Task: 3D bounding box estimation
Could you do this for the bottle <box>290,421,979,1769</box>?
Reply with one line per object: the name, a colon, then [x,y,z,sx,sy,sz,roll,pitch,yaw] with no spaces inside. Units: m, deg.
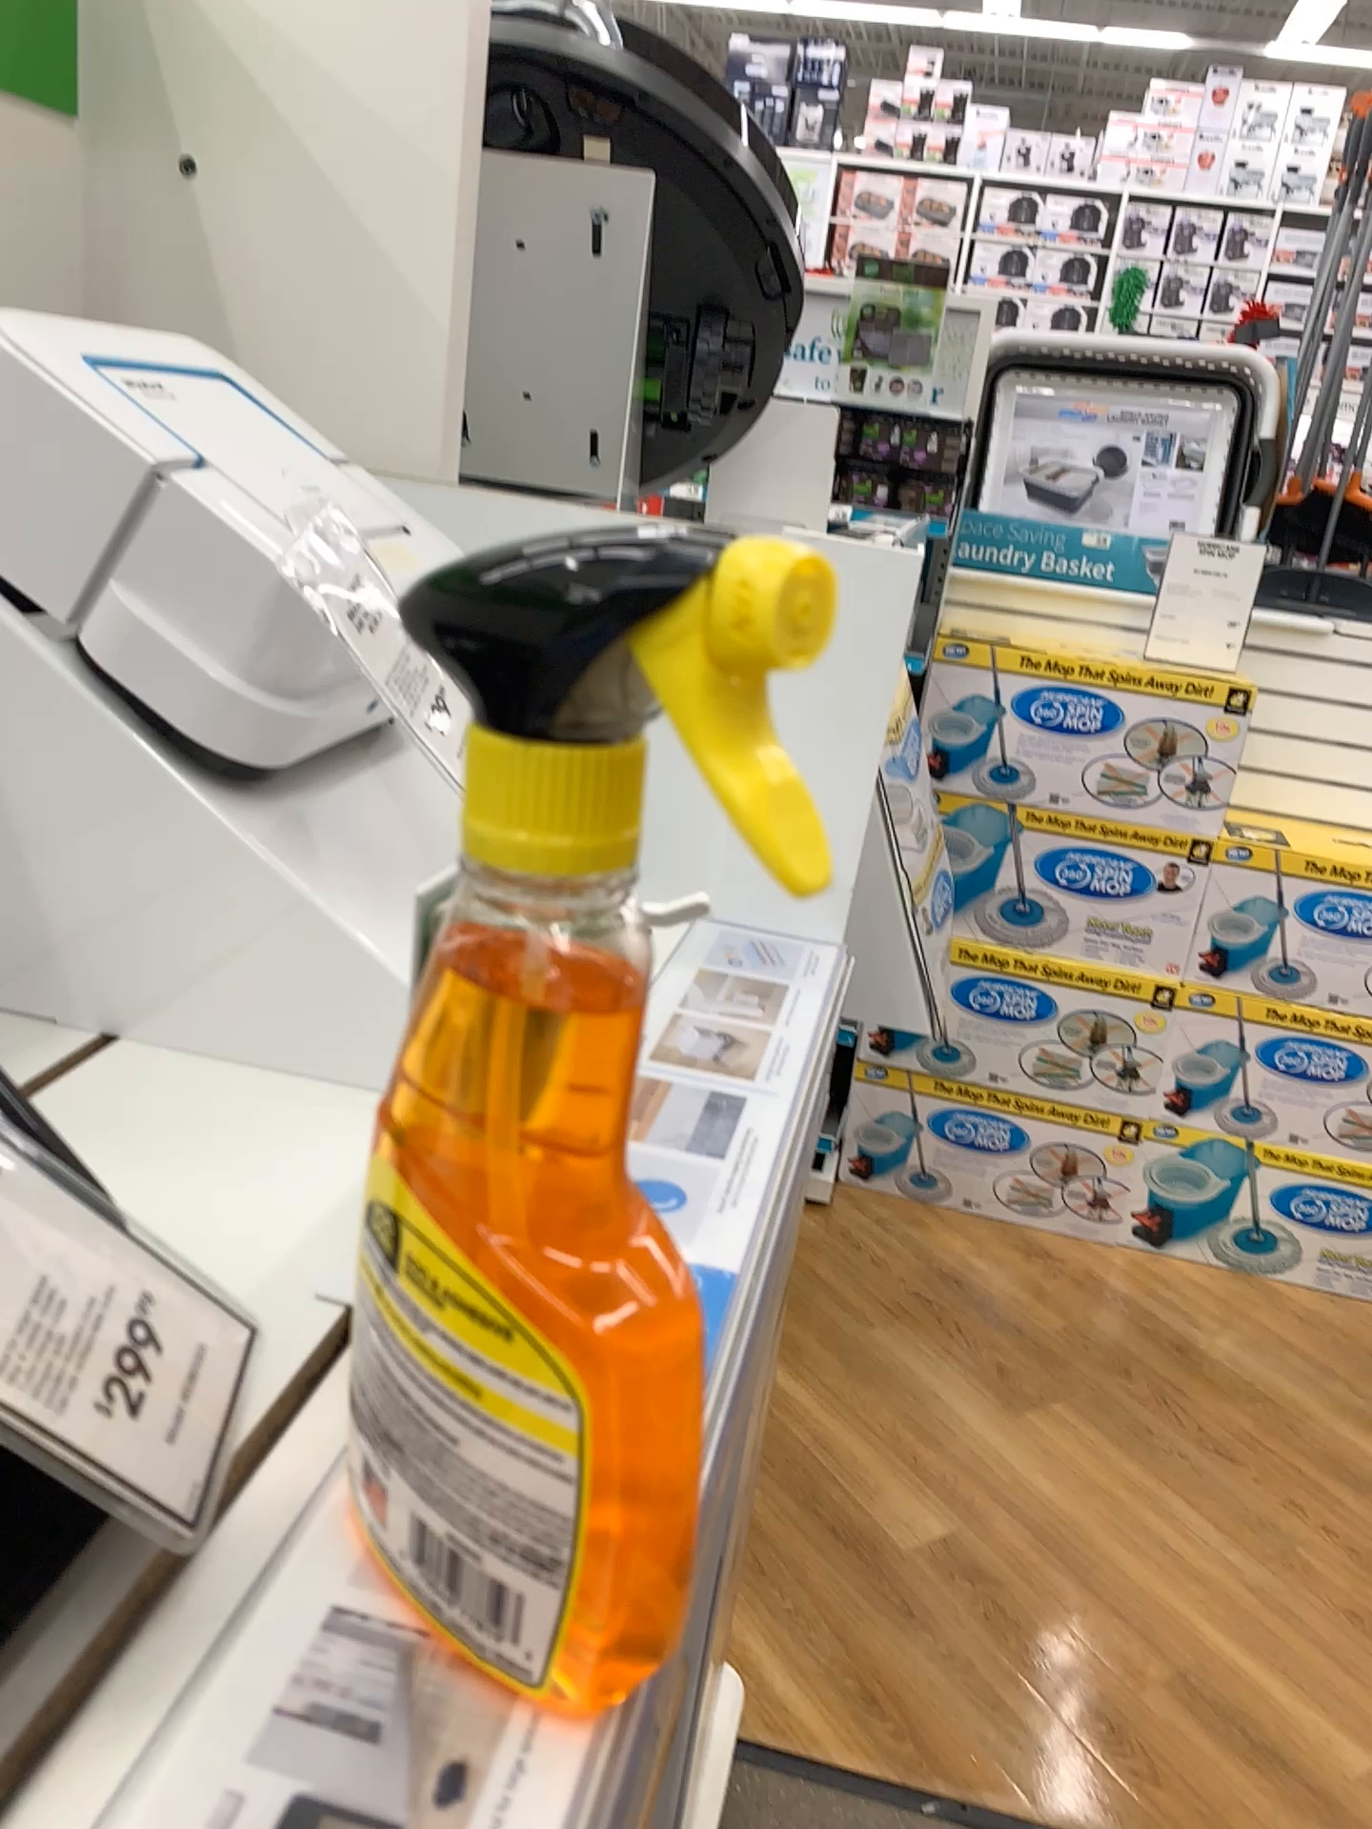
bottle: [-0.022,0.031,0.271,0.100,0.226,0.050,23,23,38]
